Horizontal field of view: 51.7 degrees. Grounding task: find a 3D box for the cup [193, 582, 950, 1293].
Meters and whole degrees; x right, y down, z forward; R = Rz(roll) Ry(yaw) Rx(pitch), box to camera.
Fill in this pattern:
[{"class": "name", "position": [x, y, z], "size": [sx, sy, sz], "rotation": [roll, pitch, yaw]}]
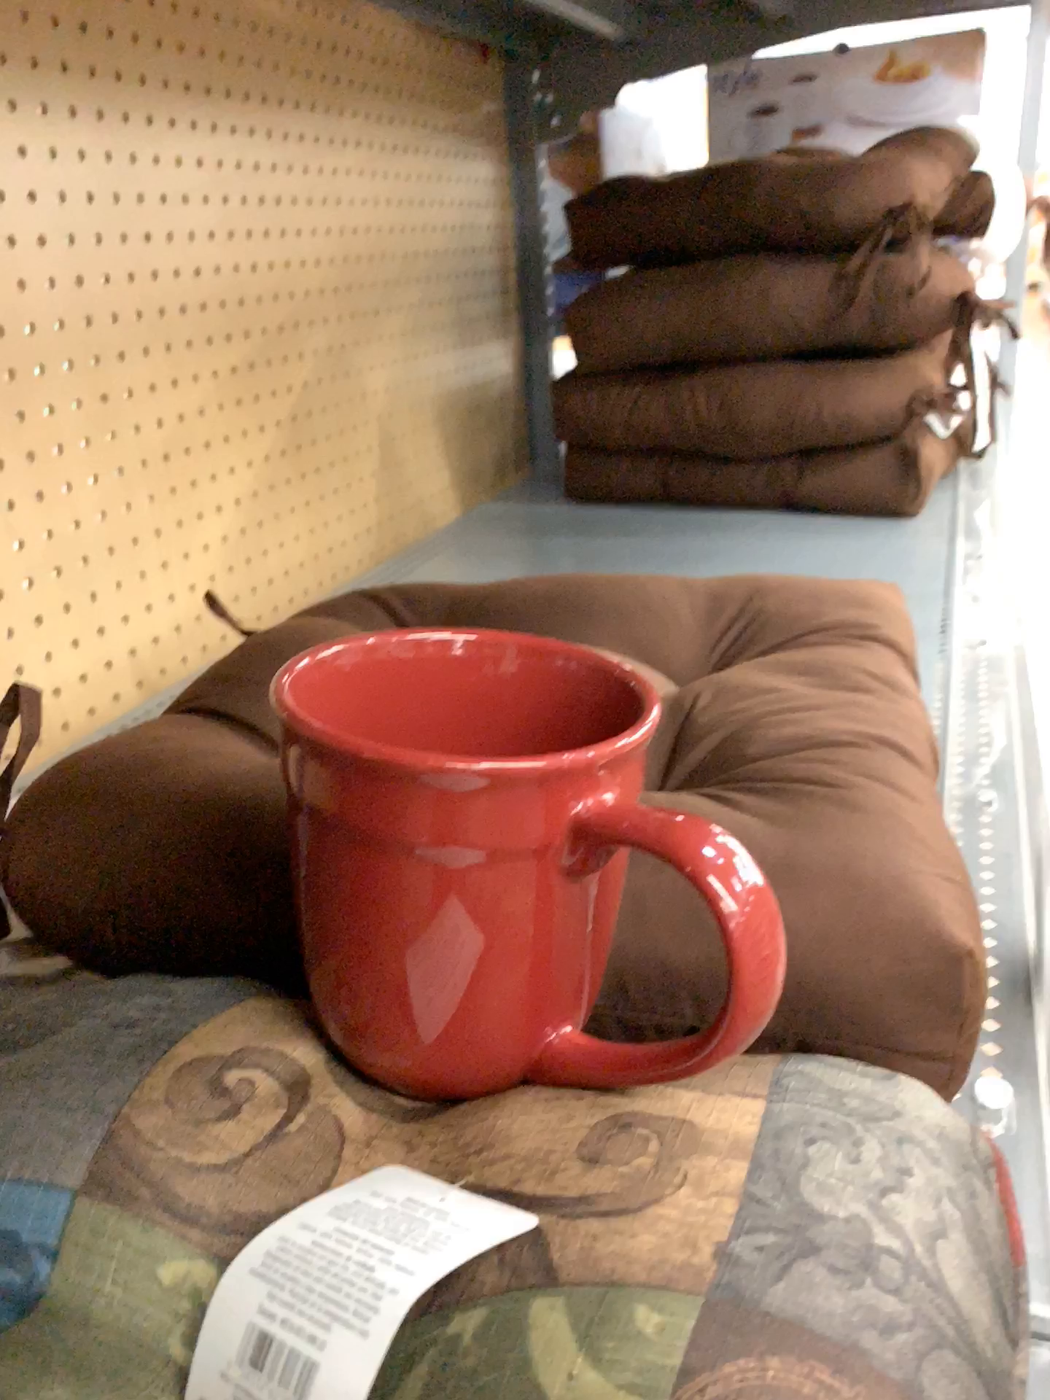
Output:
[{"class": "cup", "position": [0.004, 0.037, 0.270], "size": [0.150, 0.090, 0.100], "rotation": [21, 26, 40]}]
